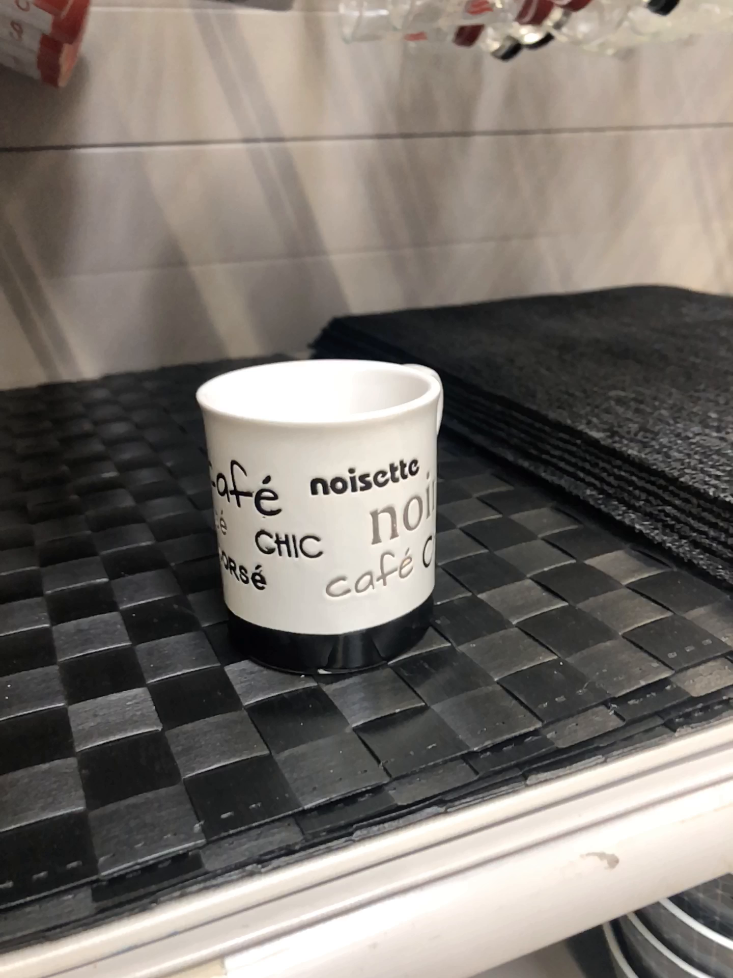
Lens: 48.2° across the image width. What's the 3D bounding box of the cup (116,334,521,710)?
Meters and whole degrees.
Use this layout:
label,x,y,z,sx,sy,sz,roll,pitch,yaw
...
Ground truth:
label,x,y,z,sx,sy,sz,roll,pitch,yaw
cup,-0.007,0.000,0.233,0.067,0.066,0.093,12,26,33
